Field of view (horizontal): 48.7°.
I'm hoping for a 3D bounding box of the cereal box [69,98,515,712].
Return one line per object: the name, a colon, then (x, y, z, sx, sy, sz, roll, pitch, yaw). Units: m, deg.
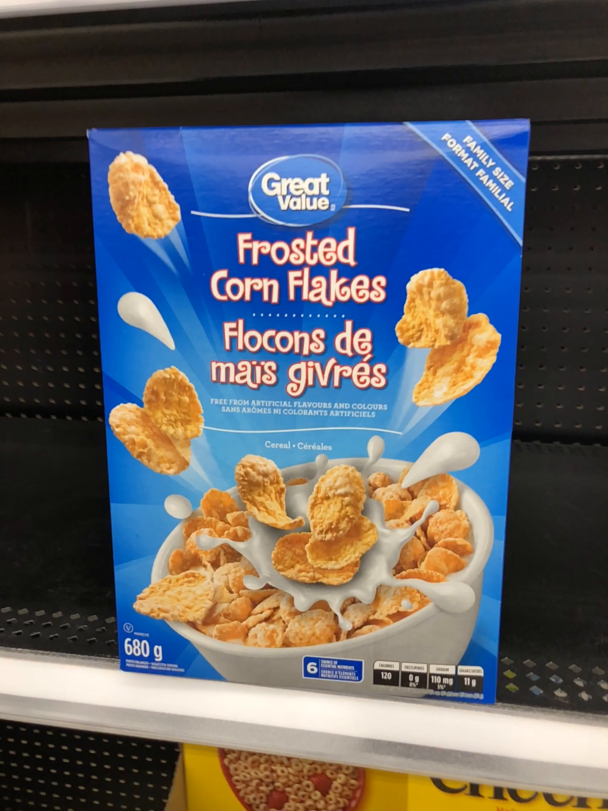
cereal box: (-0.005, 0.002, 0.382, 0.210, 0.309, 0.080, 2, 12, 7)
